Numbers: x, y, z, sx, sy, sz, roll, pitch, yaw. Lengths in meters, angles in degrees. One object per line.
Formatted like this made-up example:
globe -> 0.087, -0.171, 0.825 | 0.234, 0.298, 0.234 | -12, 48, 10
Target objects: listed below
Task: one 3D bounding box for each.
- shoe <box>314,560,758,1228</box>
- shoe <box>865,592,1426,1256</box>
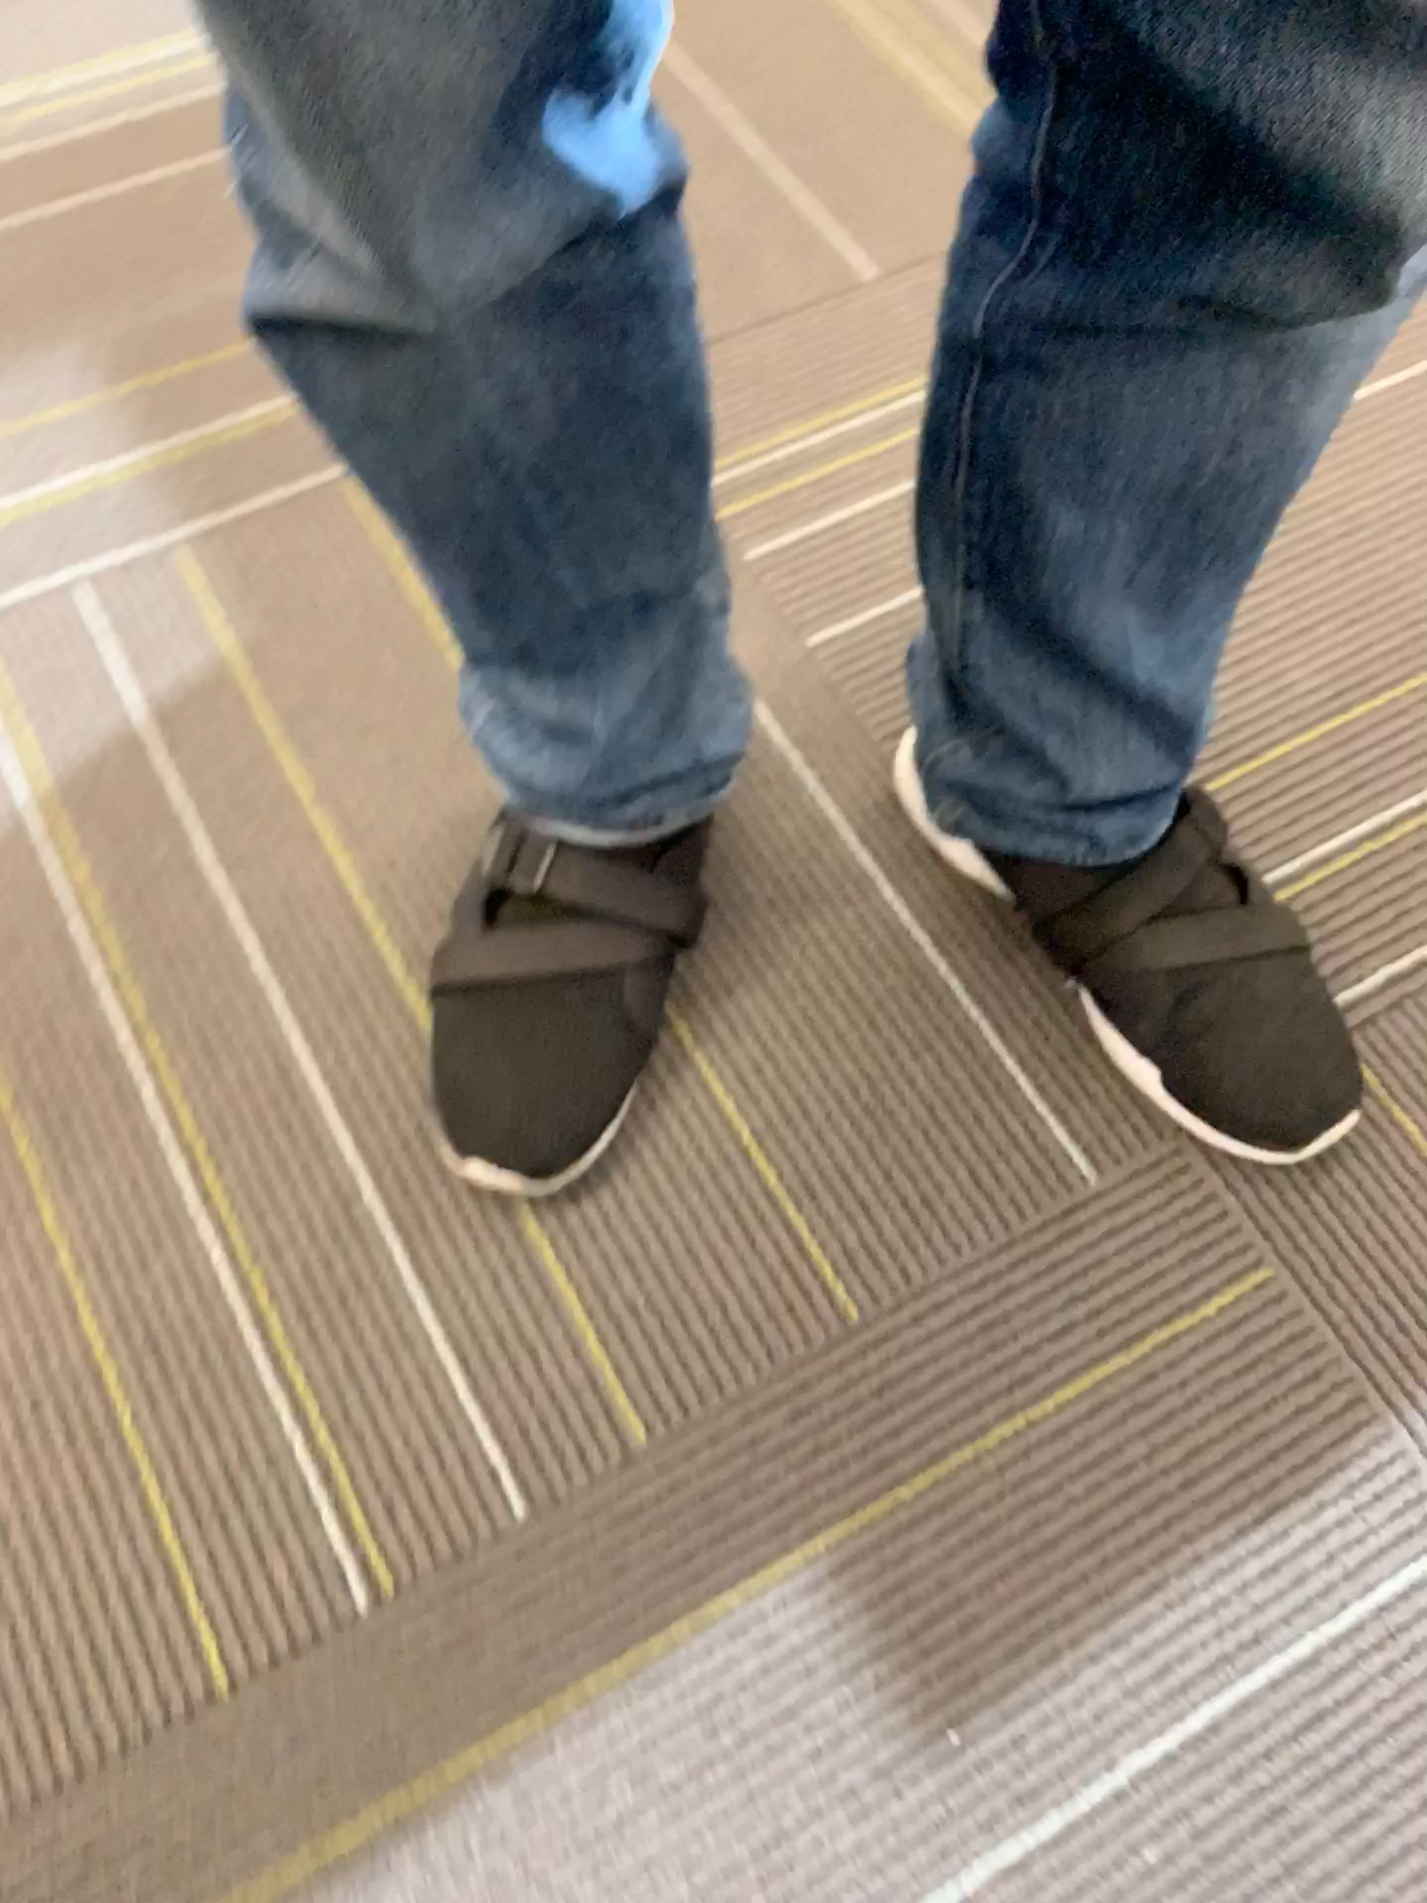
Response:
shoe -> -0.074, -0.035, 0.736 | 0.120, 0.110, 0.301 | 13, 63, 6
shoe -> 0.217, -0.019, 0.749 | 0.120, 0.120, 0.301 | -28, 66, -15
